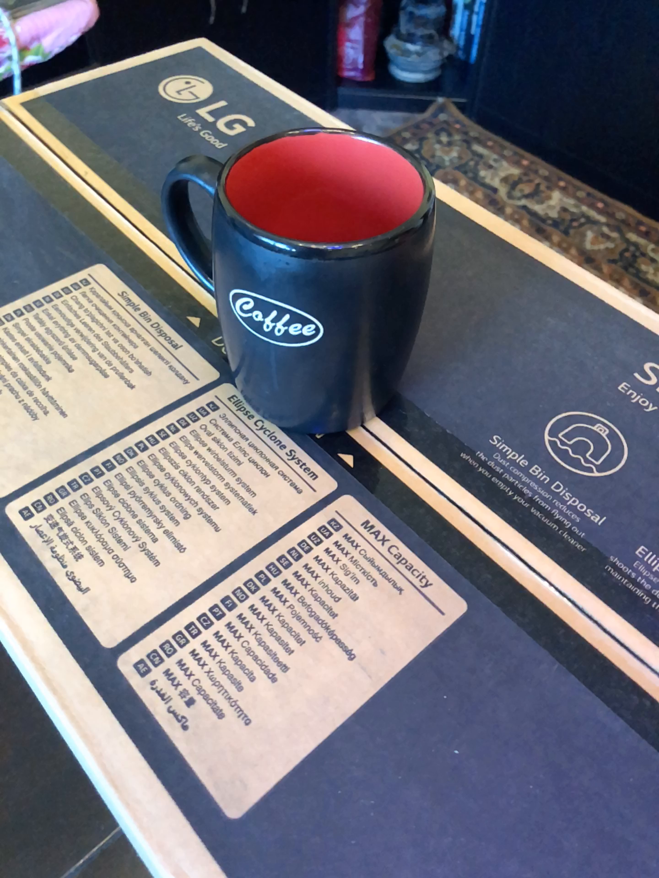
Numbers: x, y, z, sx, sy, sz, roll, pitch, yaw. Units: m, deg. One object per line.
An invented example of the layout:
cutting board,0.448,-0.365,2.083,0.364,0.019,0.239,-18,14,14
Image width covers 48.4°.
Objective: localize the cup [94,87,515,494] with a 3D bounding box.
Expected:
cup,-0.009,-0.063,0.297,0.120,0.090,0.090,30,56,20
